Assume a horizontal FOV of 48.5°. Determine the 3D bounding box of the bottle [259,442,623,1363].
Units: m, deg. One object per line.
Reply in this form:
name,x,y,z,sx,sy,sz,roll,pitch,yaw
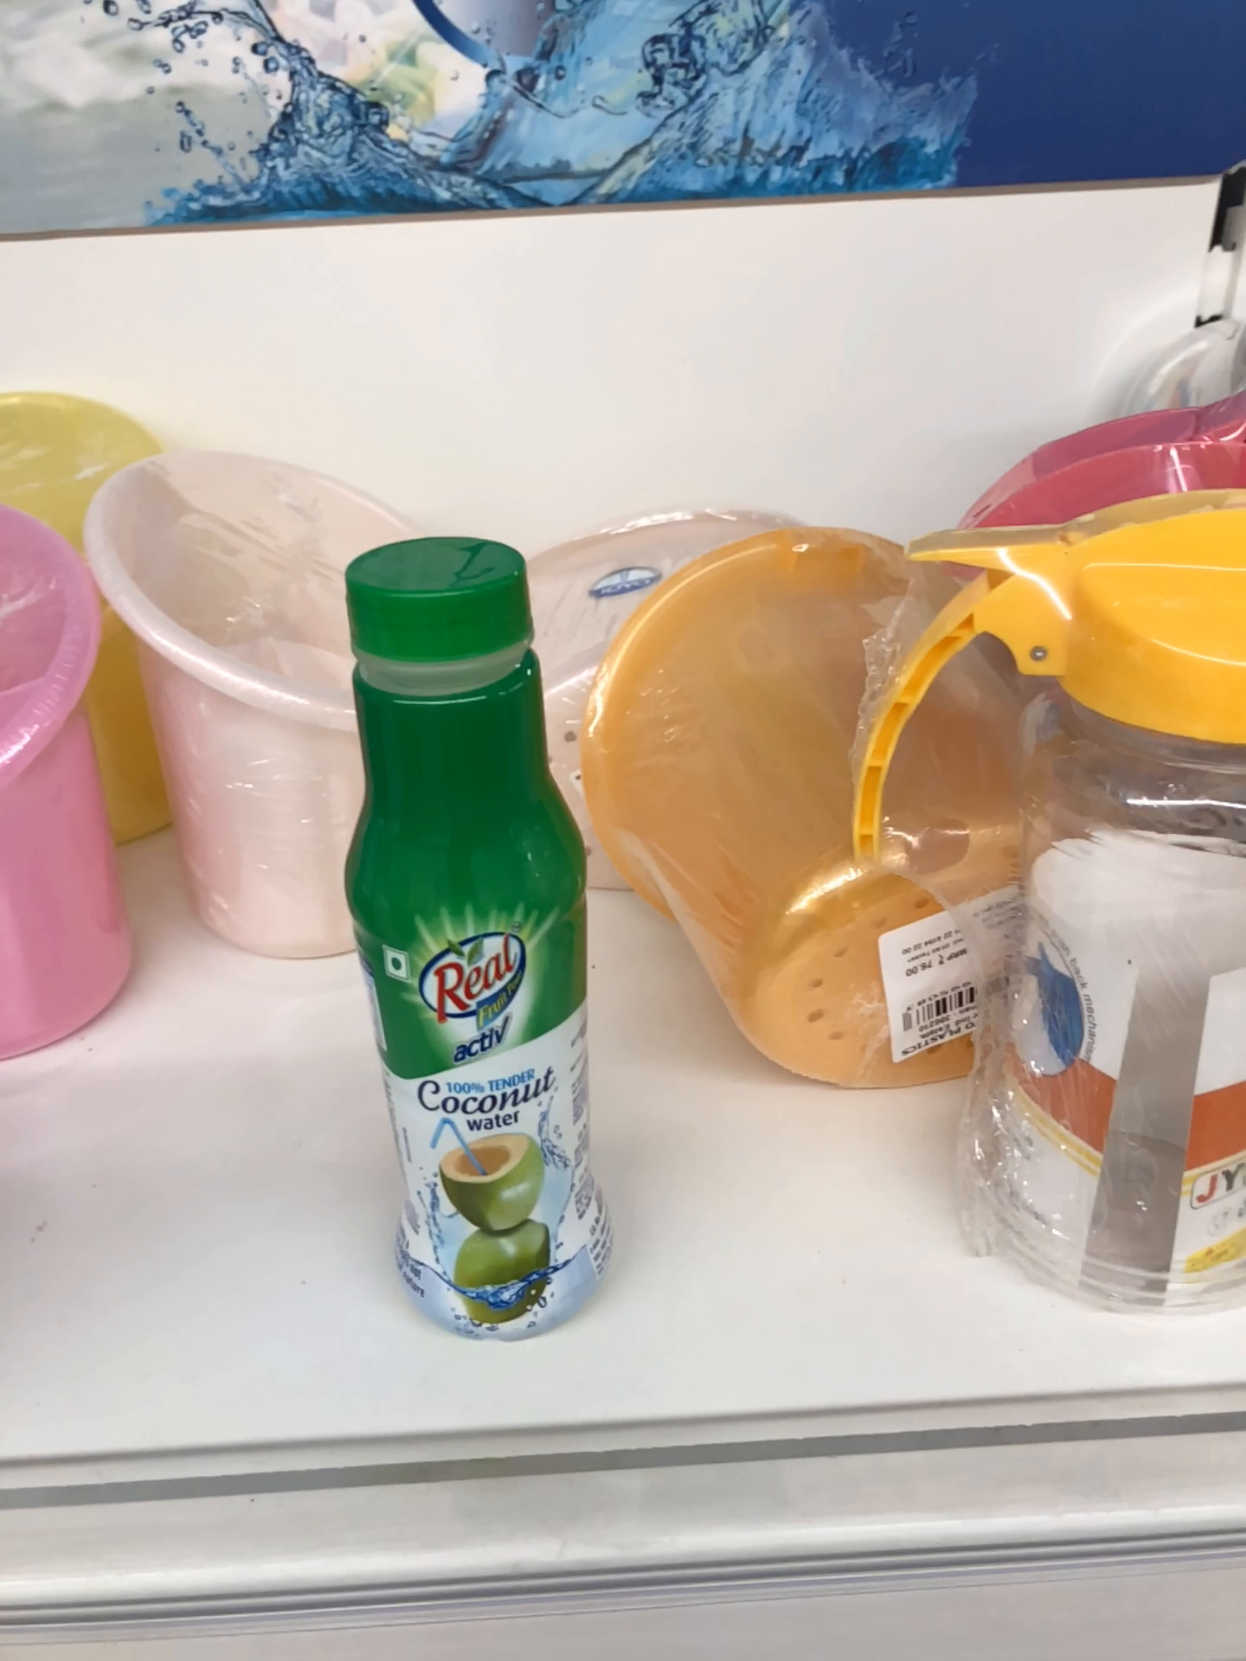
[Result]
bottle,-0.032,0.021,0.276,0.050,0.179,0.050,-1,31,1
